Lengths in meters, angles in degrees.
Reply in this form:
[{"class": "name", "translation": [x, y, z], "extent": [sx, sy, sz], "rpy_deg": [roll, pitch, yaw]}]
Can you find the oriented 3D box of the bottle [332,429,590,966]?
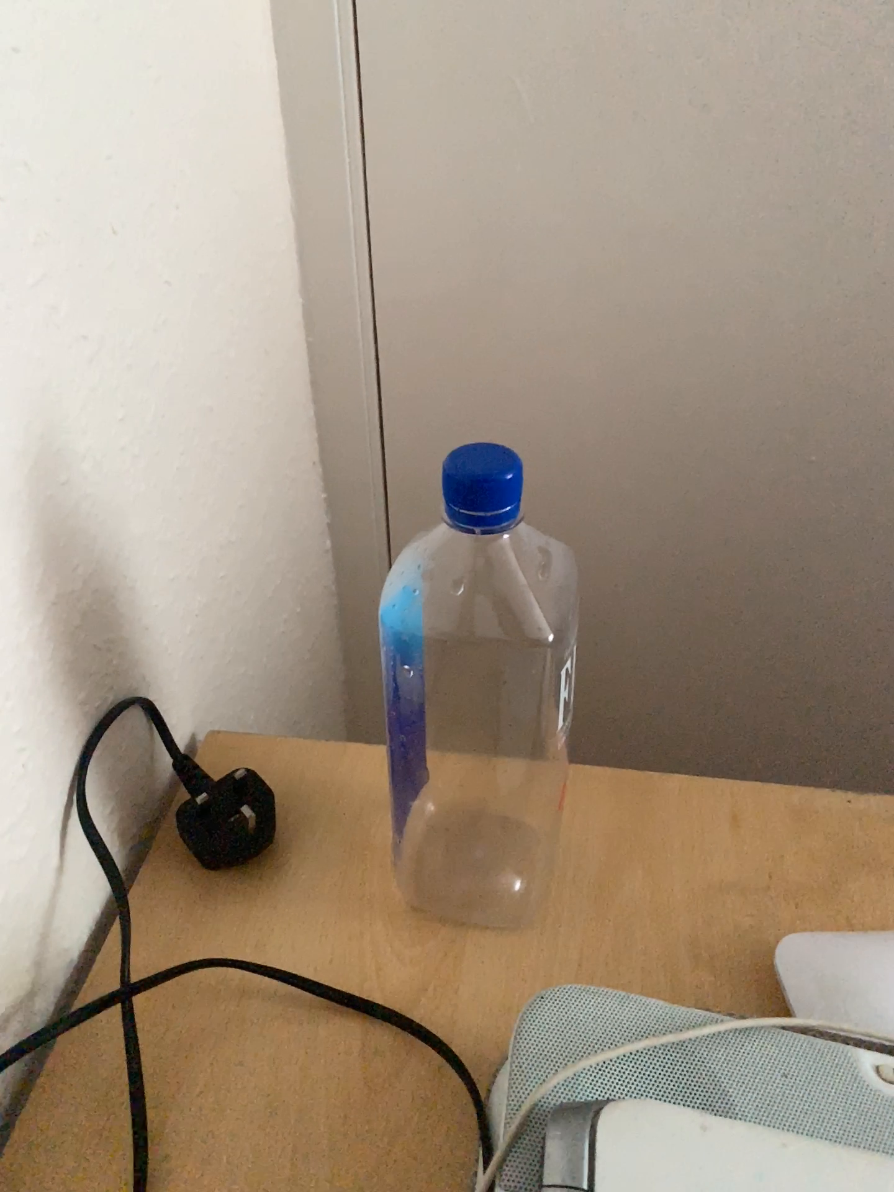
[{"class": "bottle", "translation": [0.012, 0.047, 0.387], "extent": [0.080, 0.208, 0.091], "rpy_deg": [4, 34, 9]}]
